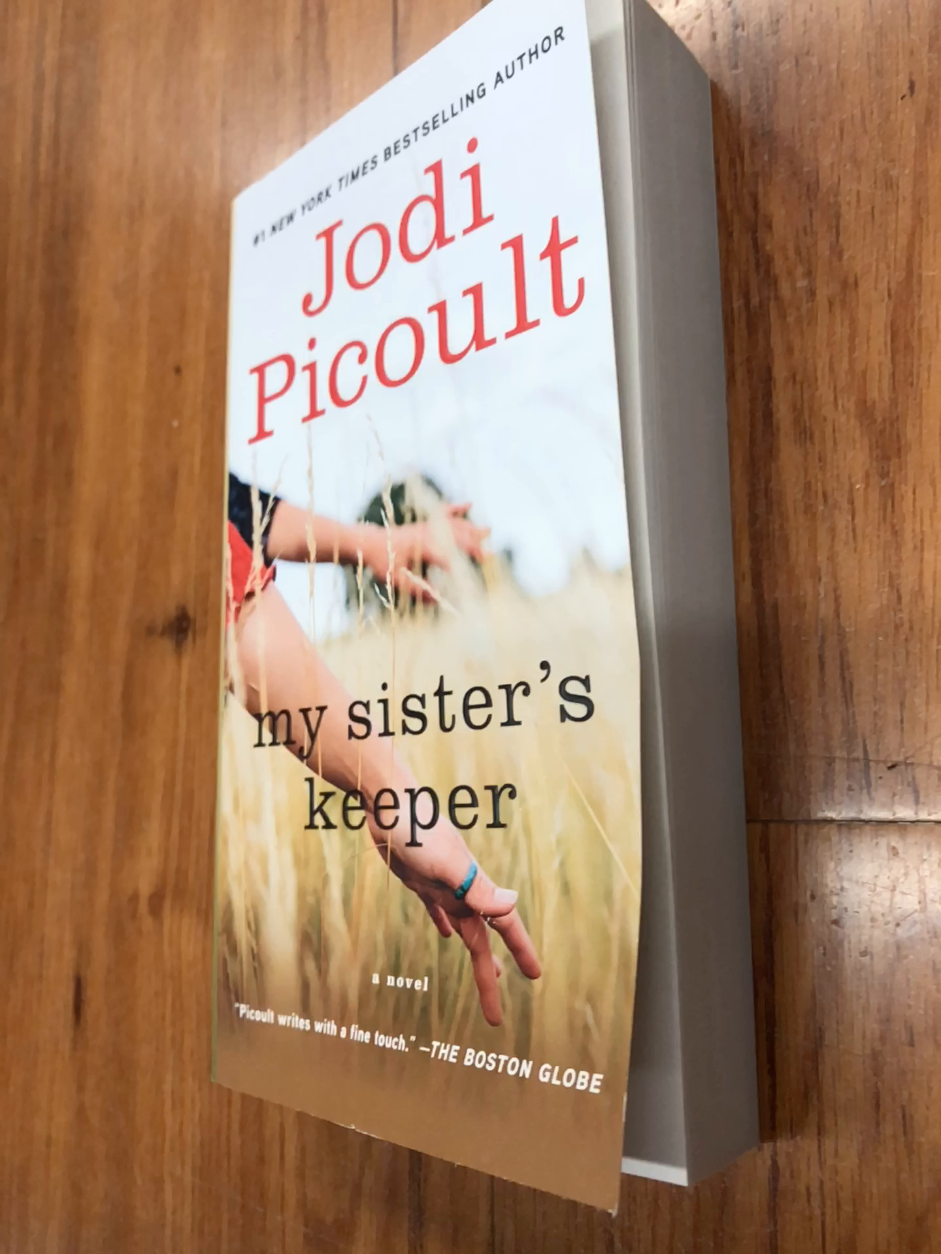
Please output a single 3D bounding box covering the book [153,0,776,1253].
[{"bbox_3d":[-0.009,-0.007,0.197,0.111,0.040,0.190,-8,78,42],"label":"book"}]
